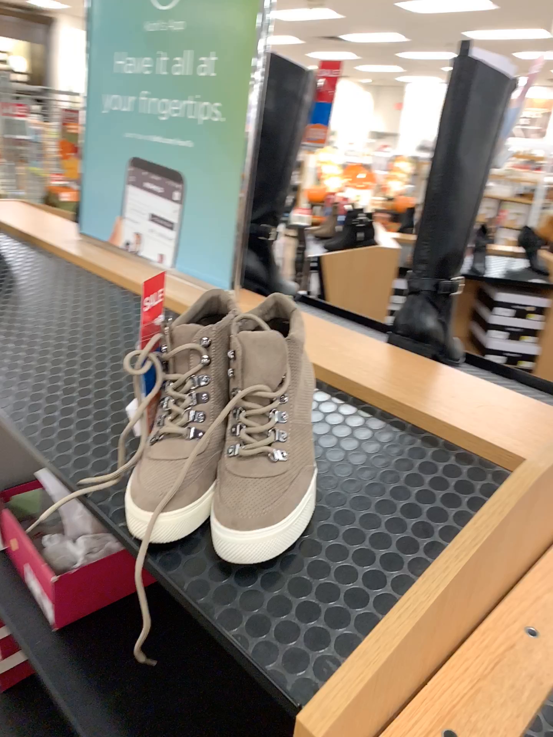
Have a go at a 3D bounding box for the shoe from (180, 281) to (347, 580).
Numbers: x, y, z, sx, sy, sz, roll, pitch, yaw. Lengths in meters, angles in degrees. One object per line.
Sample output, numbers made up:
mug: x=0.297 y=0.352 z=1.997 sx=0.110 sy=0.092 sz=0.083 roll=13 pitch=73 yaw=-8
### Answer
shoe: x=0.006 y=0.032 z=0.551 sx=0.100 sy=0.160 sz=0.291 roll=4 pitch=23 yaw=9

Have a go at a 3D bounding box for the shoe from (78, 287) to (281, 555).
shoe: x=-0.075 y=0.031 z=0.579 sx=0.100 sy=0.160 sz=0.261 roll=6 pitch=23 yaw=13
